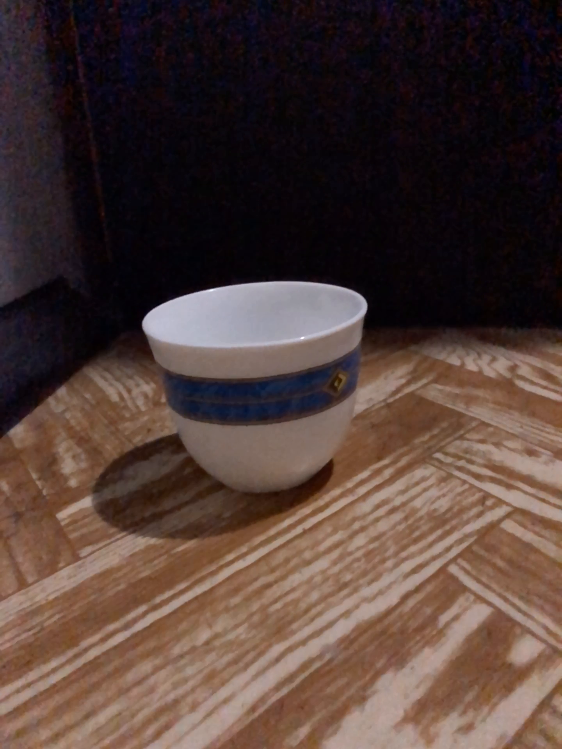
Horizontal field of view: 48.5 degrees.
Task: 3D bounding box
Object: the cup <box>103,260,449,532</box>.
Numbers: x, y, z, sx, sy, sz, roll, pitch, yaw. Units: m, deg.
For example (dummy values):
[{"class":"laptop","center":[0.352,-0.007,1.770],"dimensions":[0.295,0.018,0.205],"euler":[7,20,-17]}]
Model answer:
[{"class":"cup","center":[0.004,-0.003,0.257],"dimensions":[0.087,0.062,0.111],"euler":[12,26,36]}]
